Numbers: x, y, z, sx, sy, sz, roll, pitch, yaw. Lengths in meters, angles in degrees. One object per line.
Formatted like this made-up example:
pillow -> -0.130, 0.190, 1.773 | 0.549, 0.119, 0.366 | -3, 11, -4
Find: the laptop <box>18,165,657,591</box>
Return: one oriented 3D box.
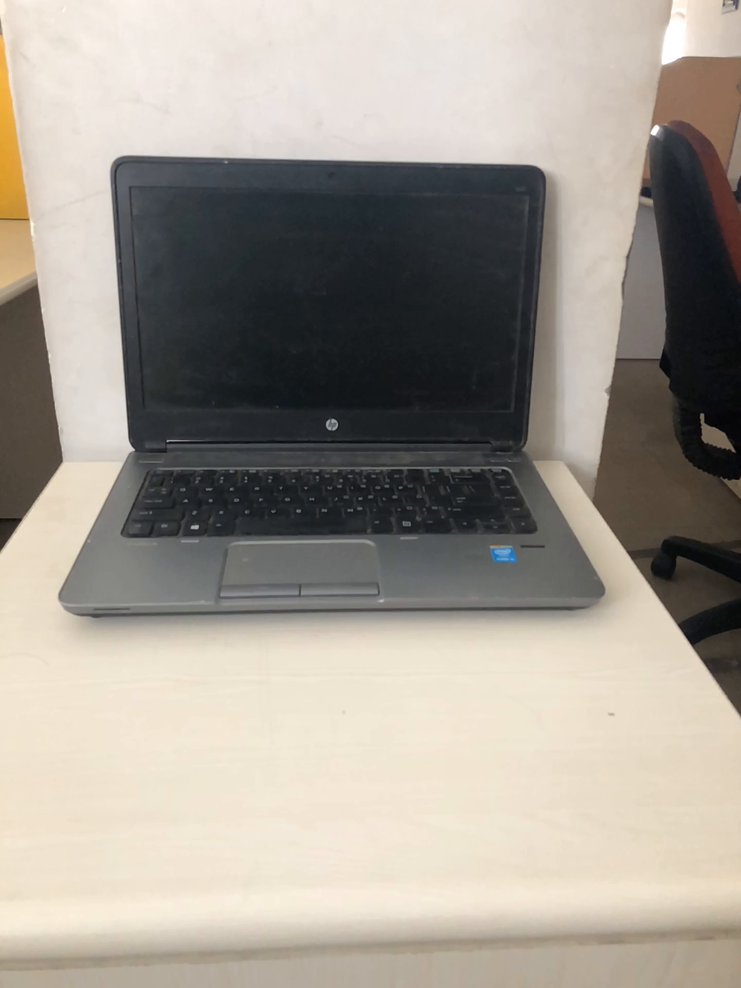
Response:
laptop -> -0.017, -0.091, 0.537 | 0.304, 0.209, 0.238 | 0, 26, -4
